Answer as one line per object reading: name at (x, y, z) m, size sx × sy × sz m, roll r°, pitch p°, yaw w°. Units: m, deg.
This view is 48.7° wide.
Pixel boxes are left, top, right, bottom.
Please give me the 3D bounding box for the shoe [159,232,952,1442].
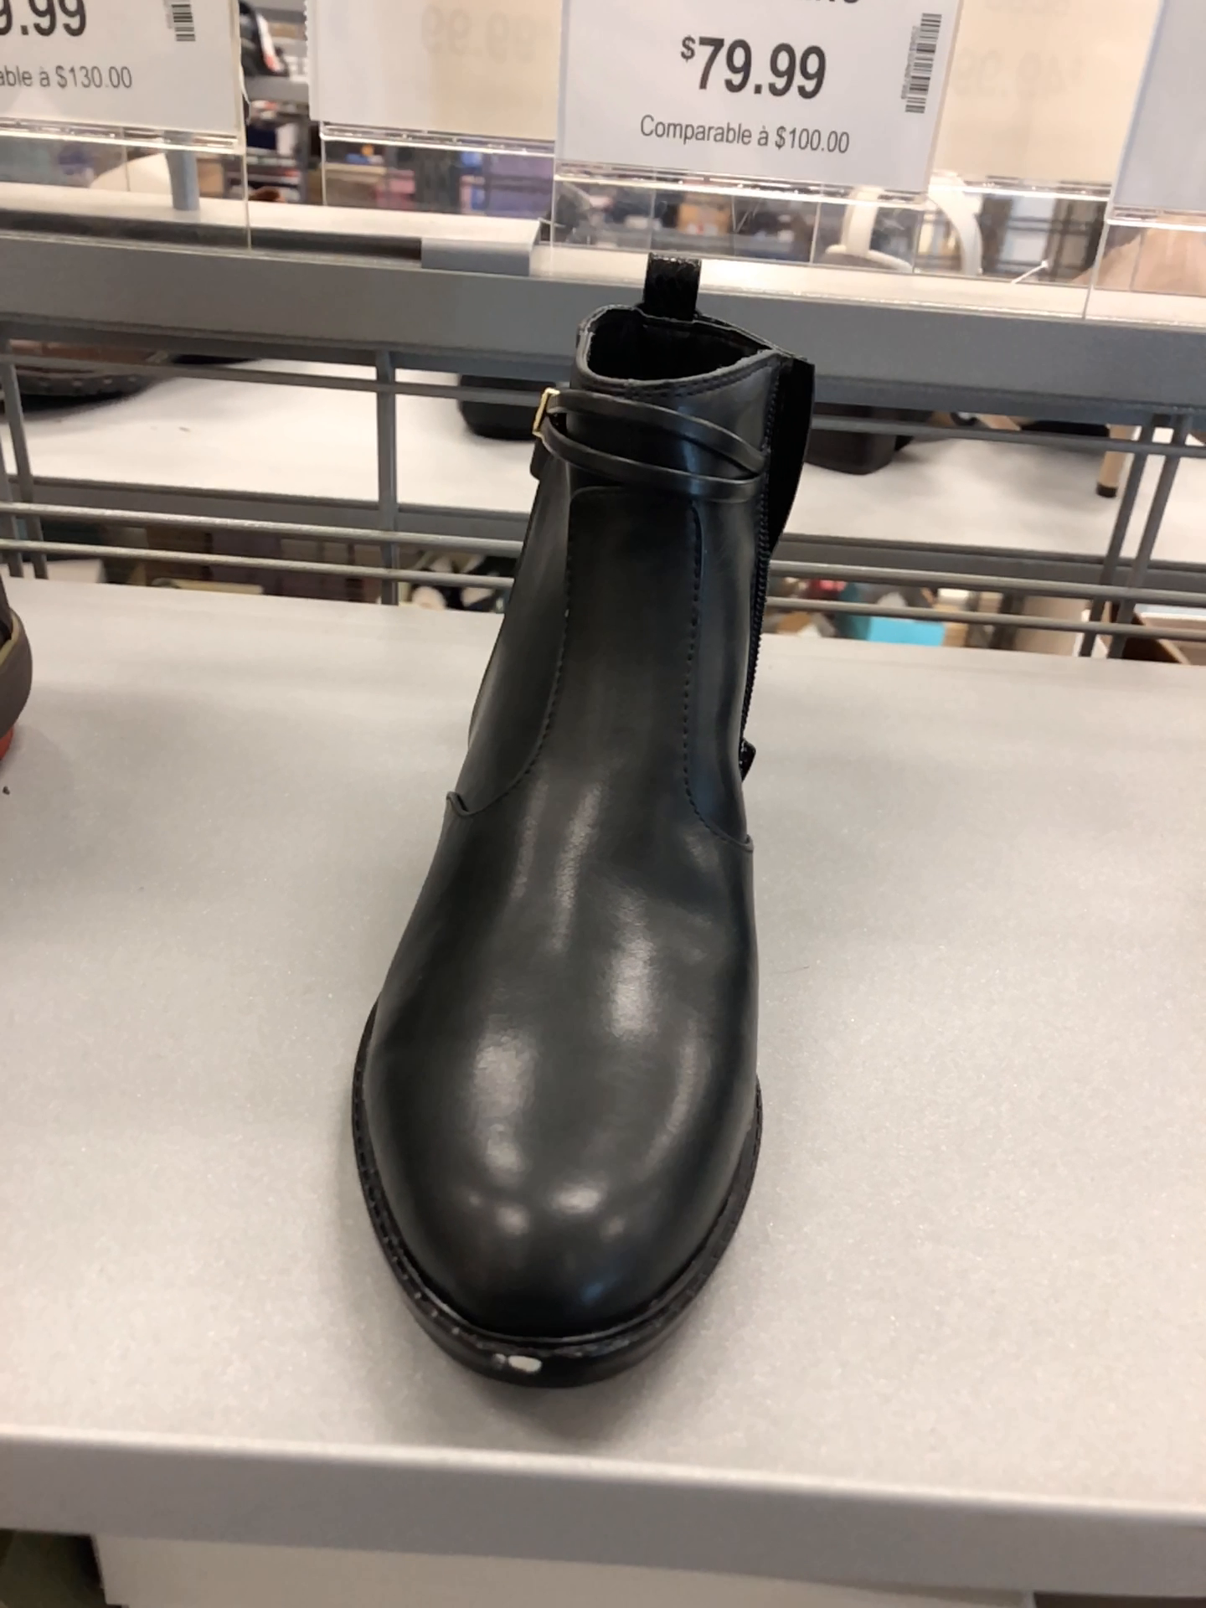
shoe at (-0.002, -0.020, 0.287) m, size 0.090 × 0.149 × 0.232 m, roll 6°, pitch 32°, yaw 2°
